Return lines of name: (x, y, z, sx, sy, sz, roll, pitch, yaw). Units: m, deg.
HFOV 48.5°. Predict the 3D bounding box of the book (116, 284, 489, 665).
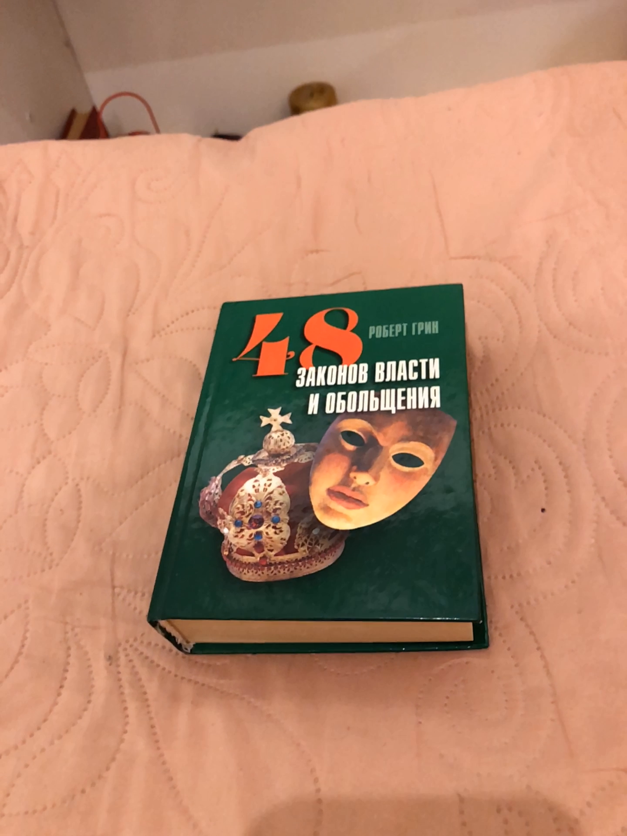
book: (0.002, 0.013, 0.258, 0.110, 0.032, 0.143, -1, 51, 9)
